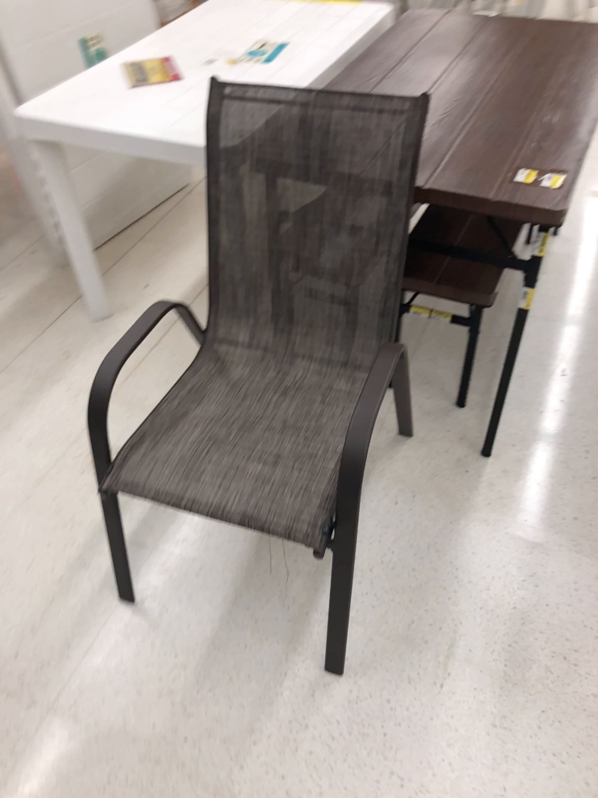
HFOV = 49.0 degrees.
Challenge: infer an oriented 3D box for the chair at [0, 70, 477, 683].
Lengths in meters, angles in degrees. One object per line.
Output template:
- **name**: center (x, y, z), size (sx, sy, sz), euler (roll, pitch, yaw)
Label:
- **chair**: center (-0.072, -0.054, 1.300), size (0.601, 0.854, 0.714), euler (13, 47, 17)
